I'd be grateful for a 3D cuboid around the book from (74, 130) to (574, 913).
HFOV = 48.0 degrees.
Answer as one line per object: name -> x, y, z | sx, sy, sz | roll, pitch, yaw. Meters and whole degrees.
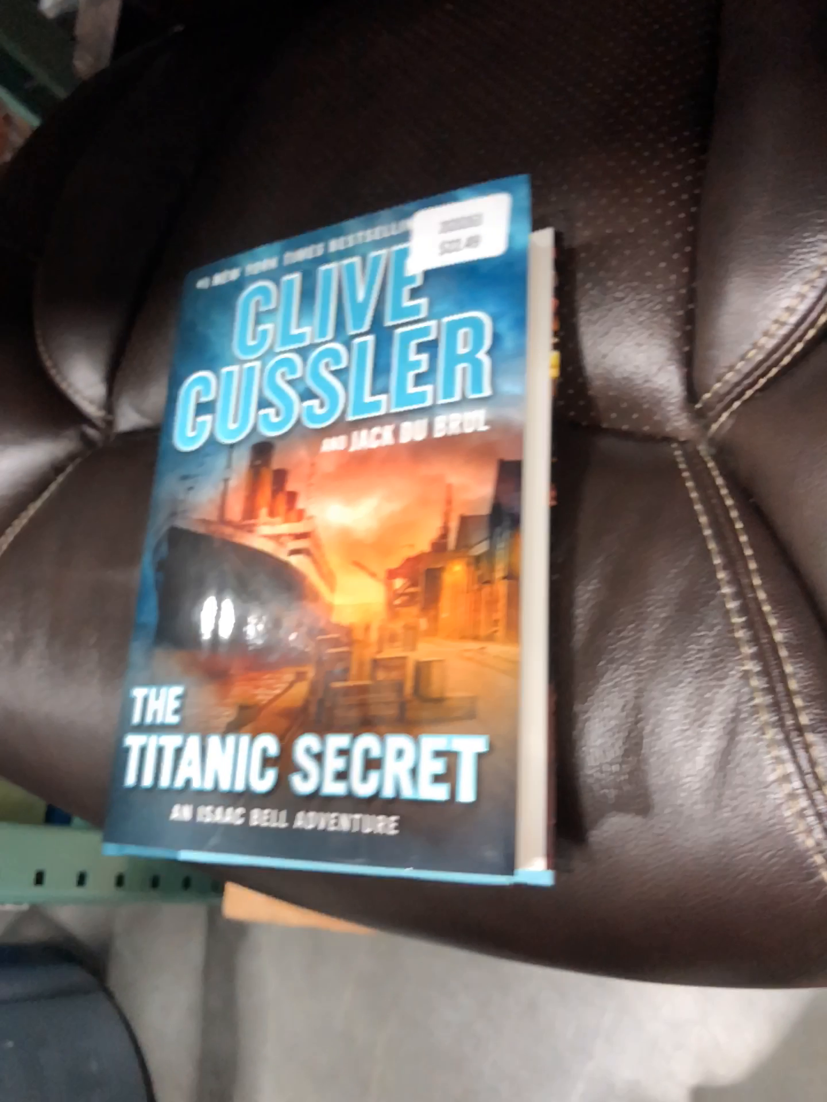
book -> -0.029, -0.011, 0.336 | 0.166, 0.040, 0.249 | -6, 71, 28
